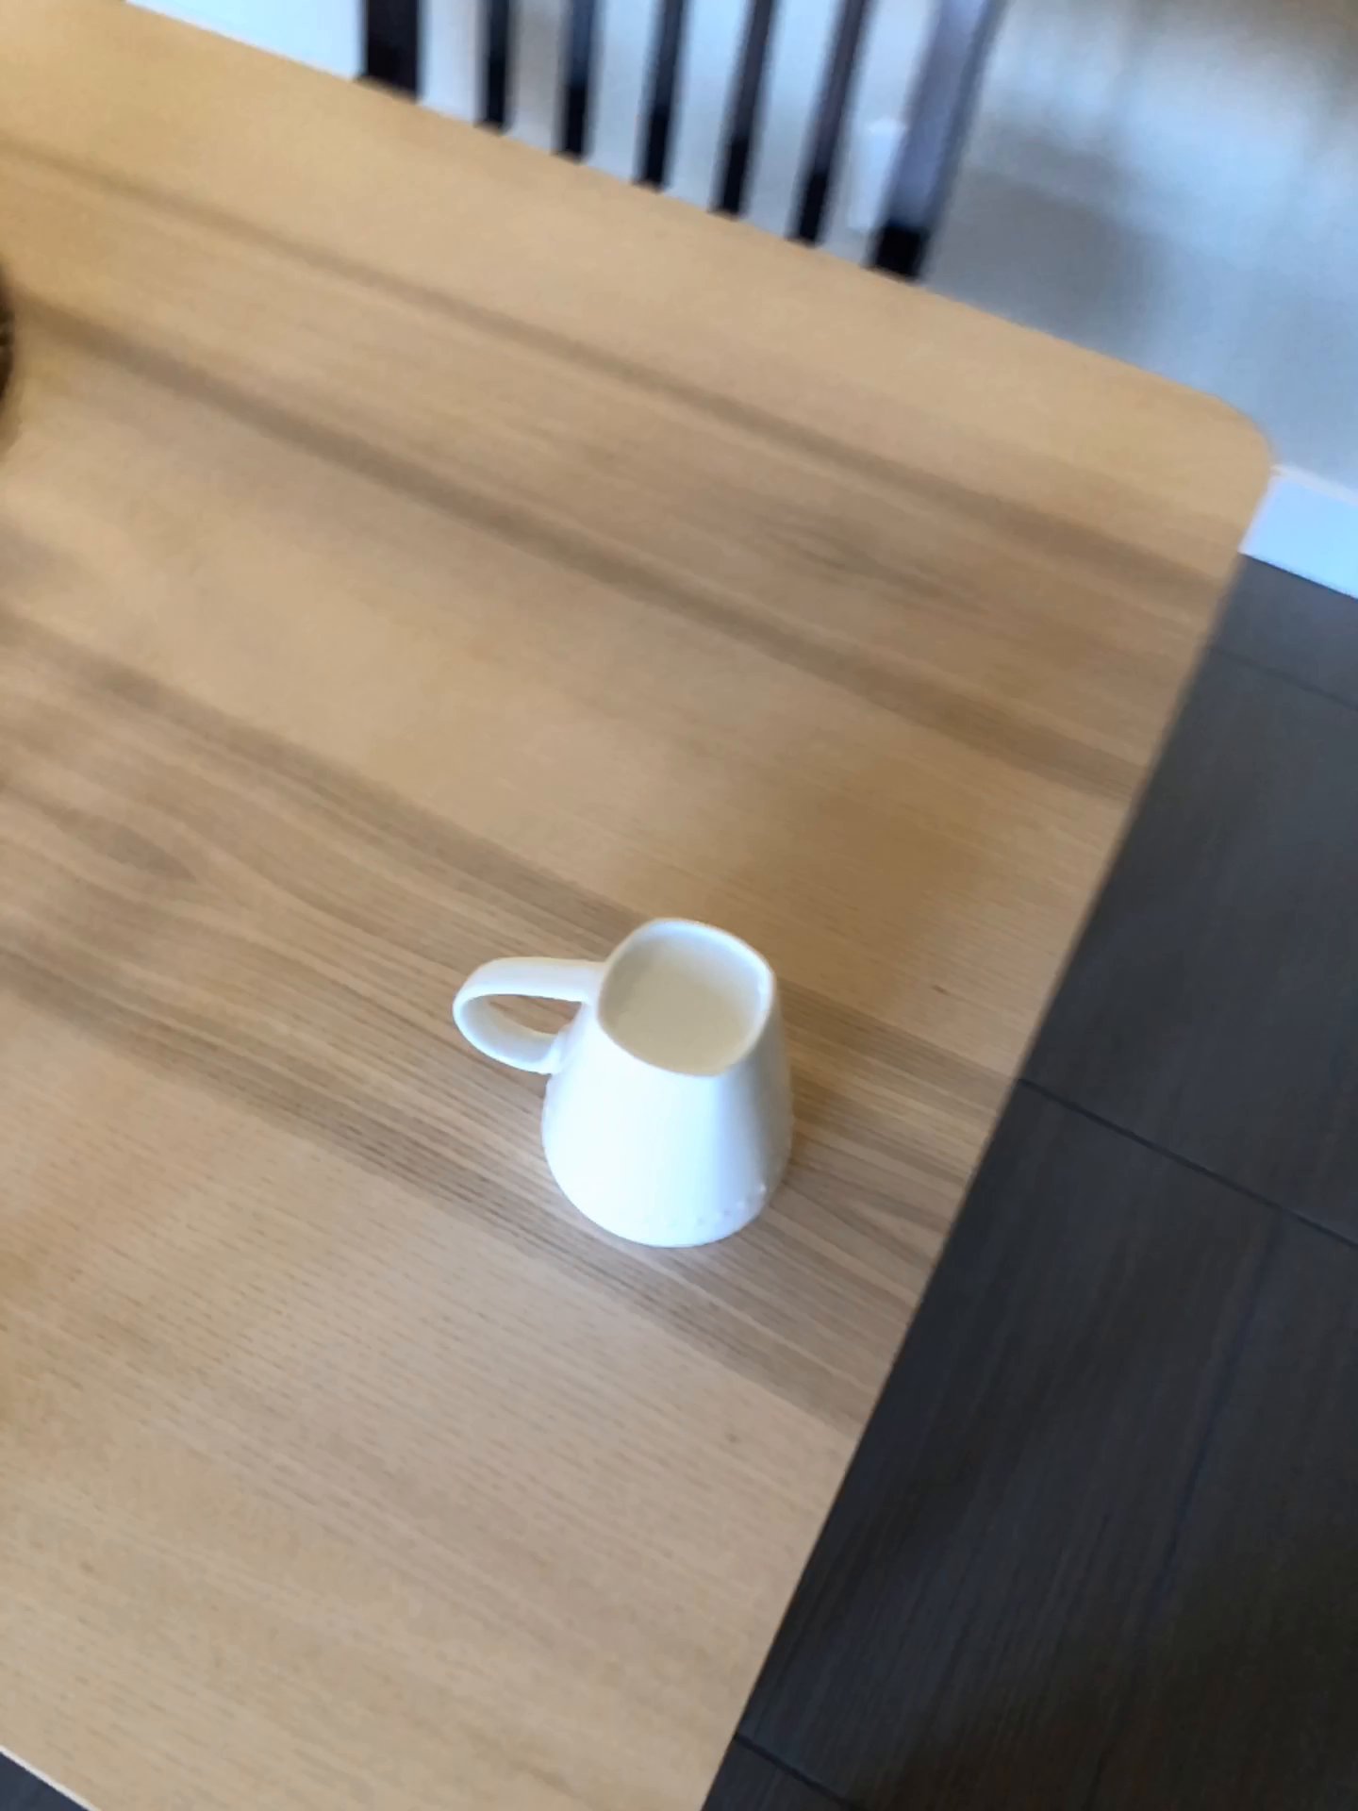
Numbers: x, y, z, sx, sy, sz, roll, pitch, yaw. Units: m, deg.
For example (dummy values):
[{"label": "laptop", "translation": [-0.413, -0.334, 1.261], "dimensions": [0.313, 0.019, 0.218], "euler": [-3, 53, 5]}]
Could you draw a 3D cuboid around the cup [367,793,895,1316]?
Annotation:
[{"label": "cup", "translation": [-0.016, 0.055, 0.526], "dimensions": [0.140, 0.120, 0.100], "euler": [19, 60, 7]}]
